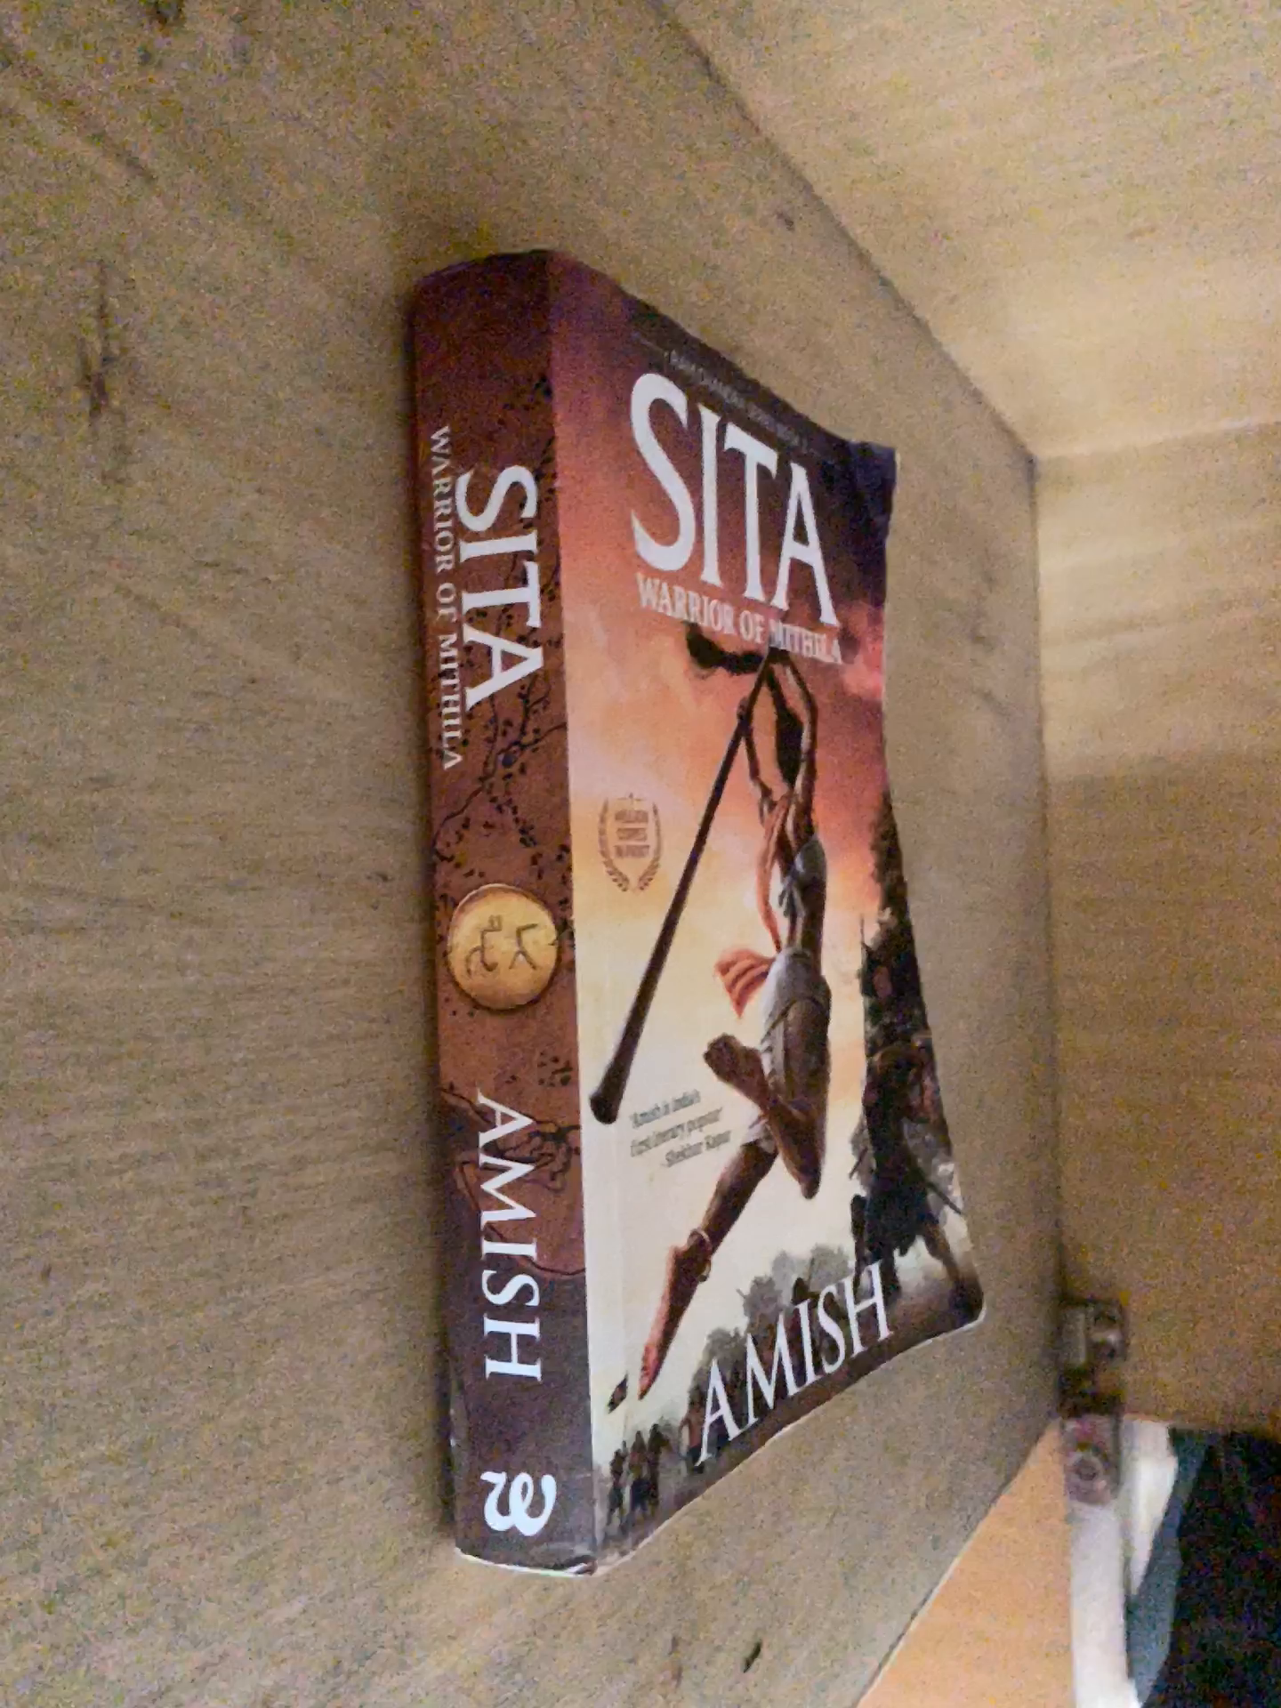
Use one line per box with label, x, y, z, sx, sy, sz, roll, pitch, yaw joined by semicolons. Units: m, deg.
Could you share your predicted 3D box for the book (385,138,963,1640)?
book;0.017;0.004;0.246;0.141;0.030;0.200;-1;88;-58
